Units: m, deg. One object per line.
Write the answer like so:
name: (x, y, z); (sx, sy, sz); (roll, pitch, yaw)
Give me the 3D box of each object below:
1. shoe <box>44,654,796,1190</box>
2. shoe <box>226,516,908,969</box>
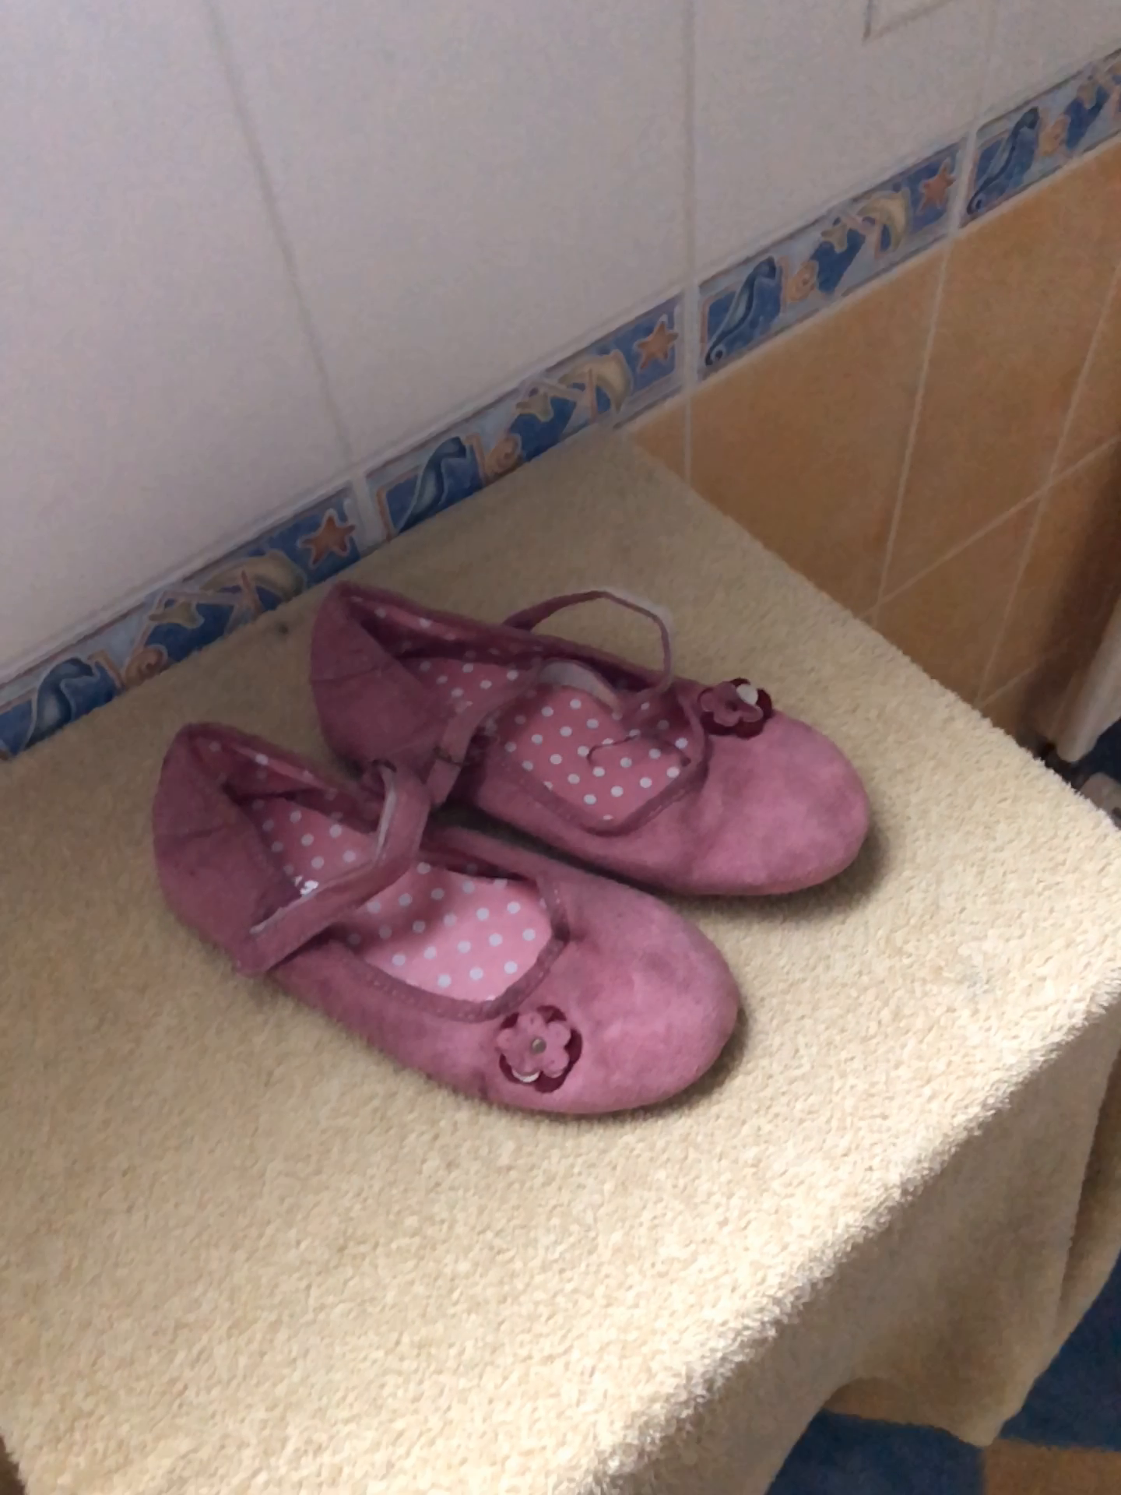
shoe: (-0.049, 0.053, 0.440); (0.240, 0.050, 0.100); (19, 59, 18)
shoe: (0.001, -0.010, 0.489); (0.240, 0.050, 0.100); (19, 59, 18)
